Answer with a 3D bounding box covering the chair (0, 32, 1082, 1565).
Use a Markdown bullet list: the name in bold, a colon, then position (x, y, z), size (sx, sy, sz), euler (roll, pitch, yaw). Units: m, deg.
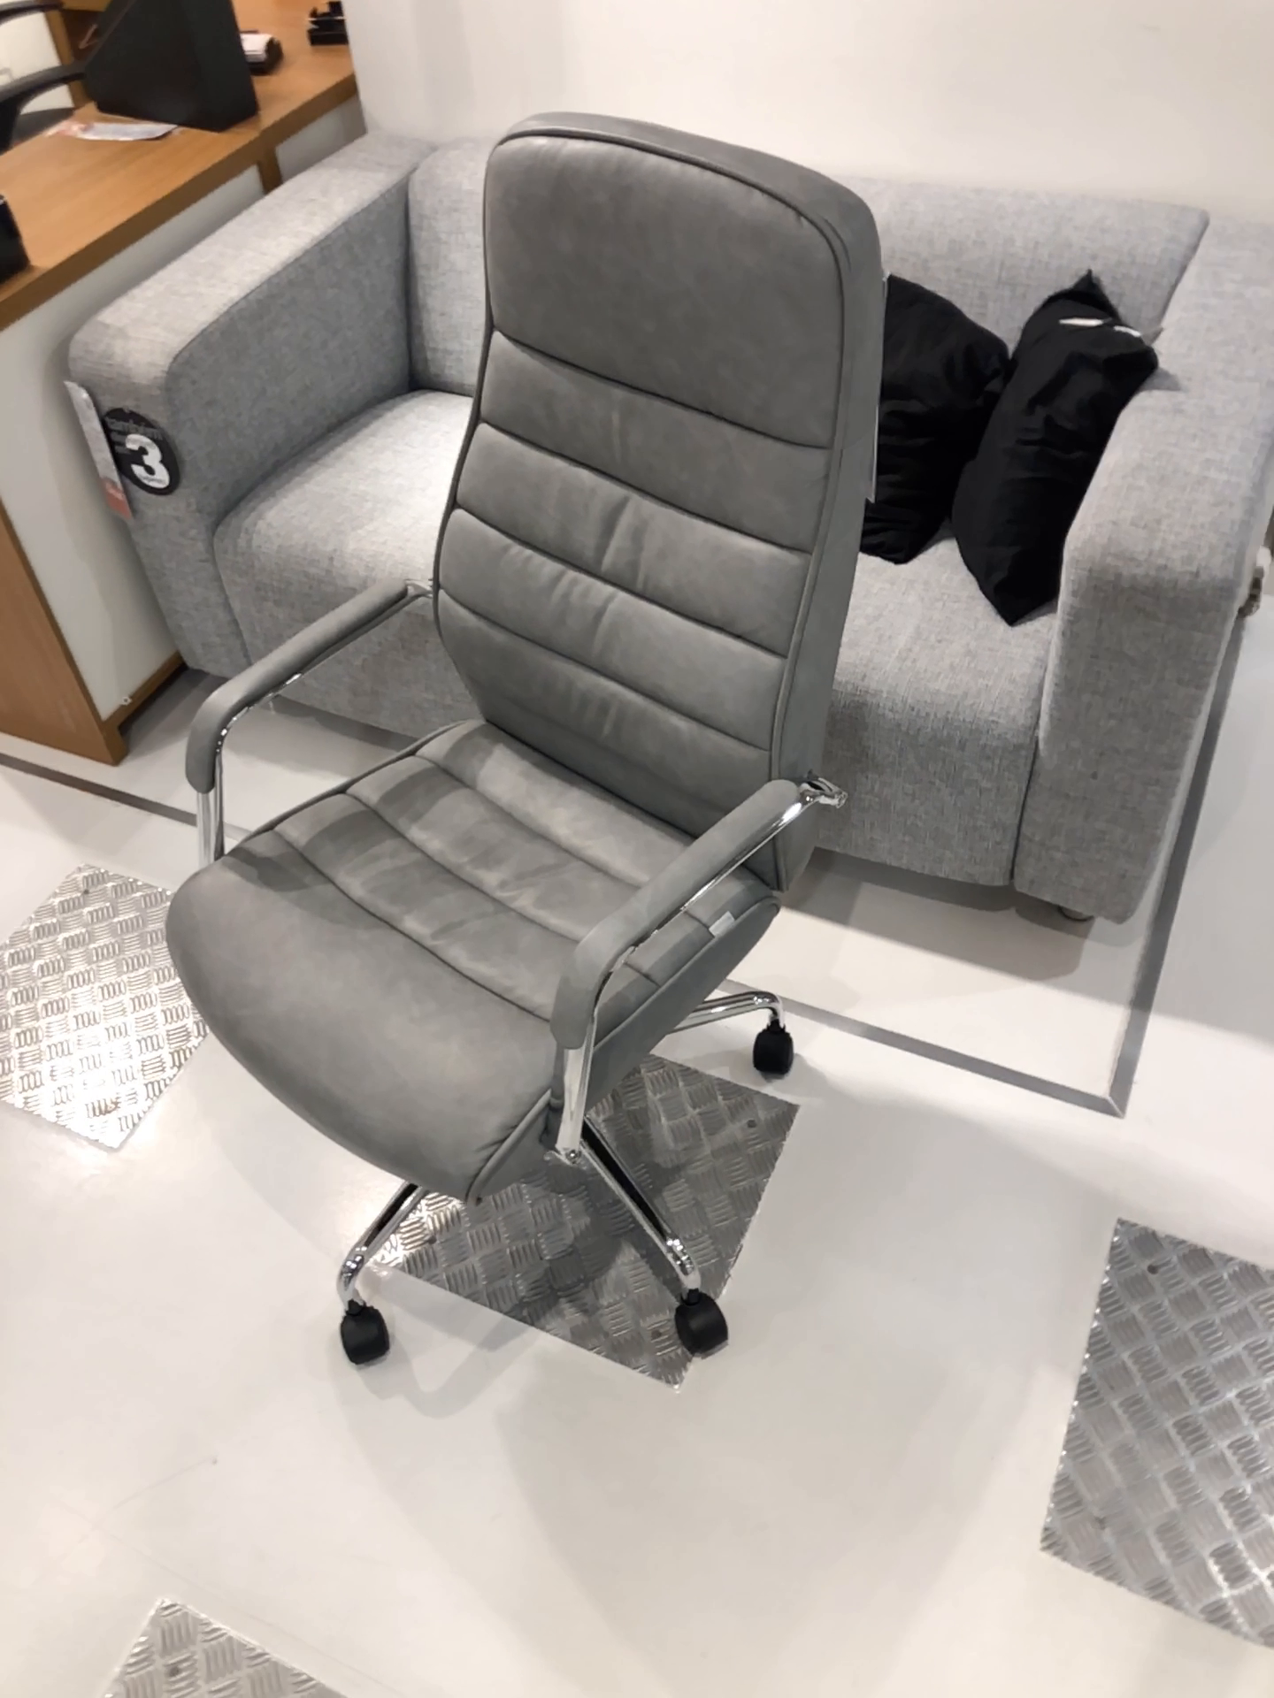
- **chair**: position (-0.167, -0.035, 1.333), size (0.722, 1.053, 0.723), euler (30, 56, 29)
